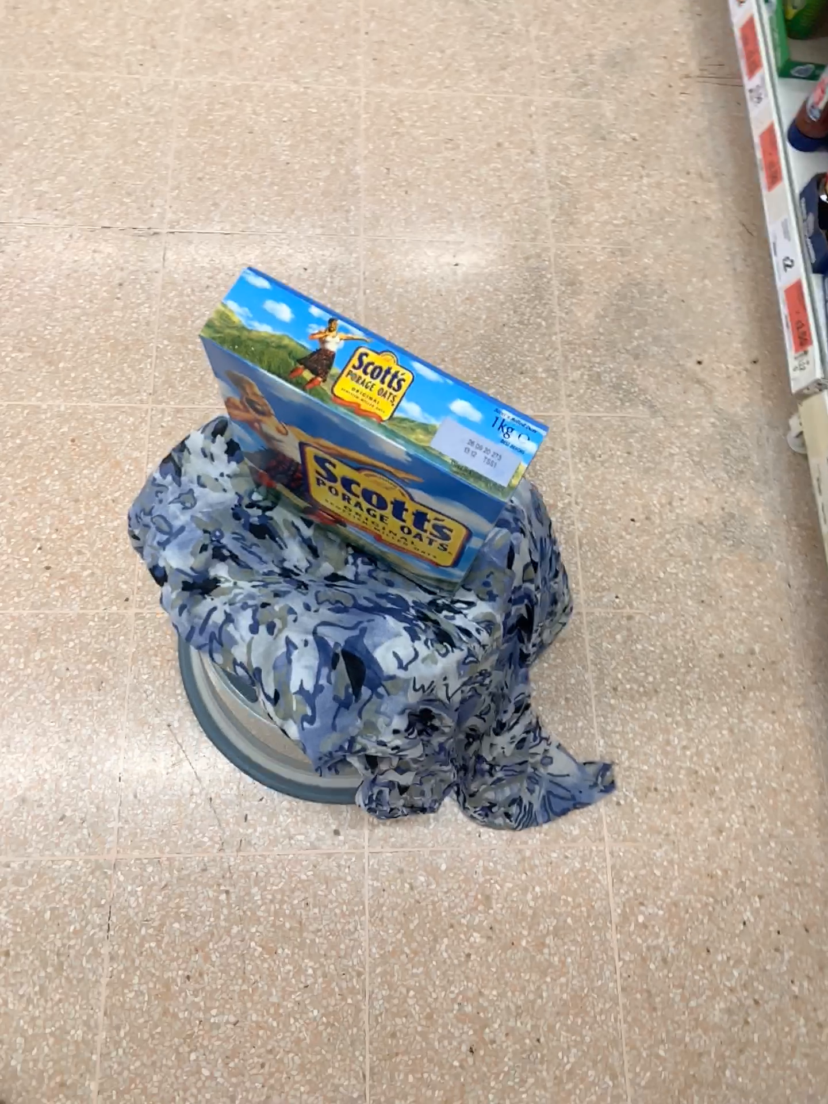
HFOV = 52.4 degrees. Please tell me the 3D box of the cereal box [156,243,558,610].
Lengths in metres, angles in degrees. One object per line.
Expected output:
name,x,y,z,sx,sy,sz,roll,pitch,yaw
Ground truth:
cereal box,-0.038,-0.061,0.565,0.210,0.249,0.060,29,76,4
